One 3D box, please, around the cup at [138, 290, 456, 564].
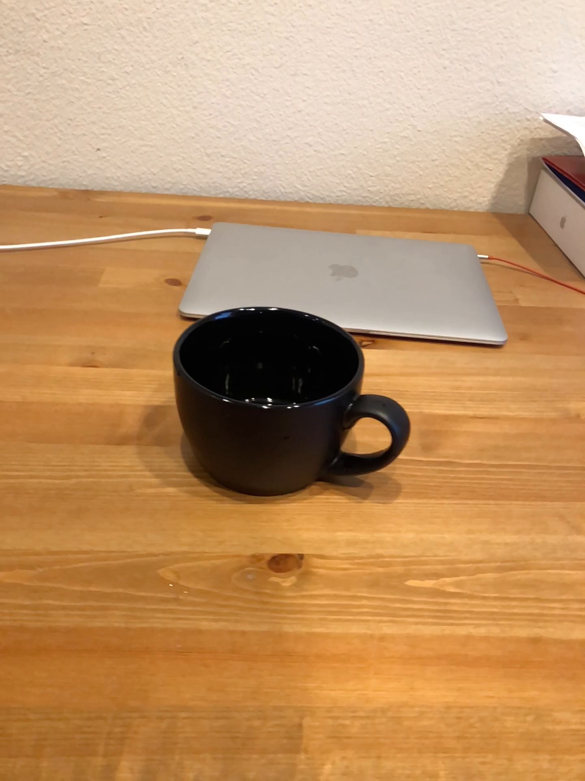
[{"bbox_3d":[0.004,0.013,0.425,0.160,0.080,0.120,19,37,20],"label":"cup"}]
